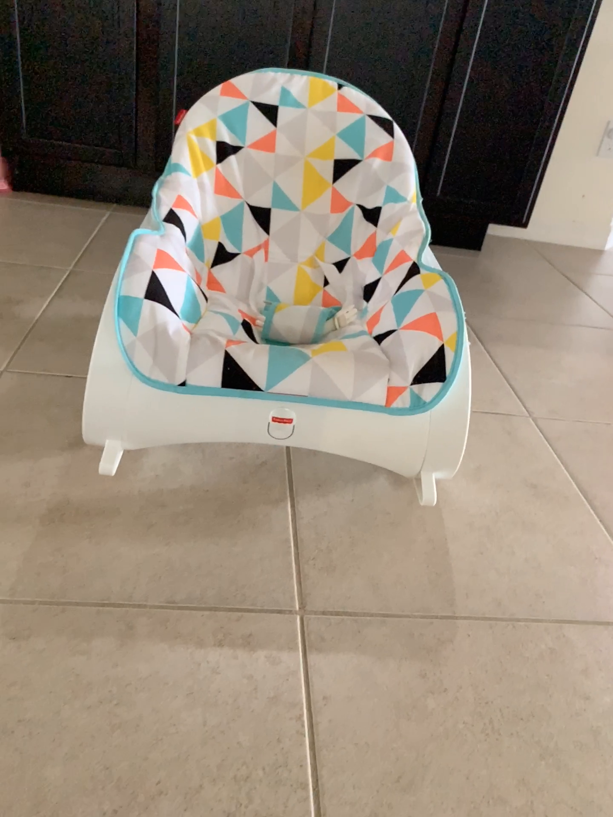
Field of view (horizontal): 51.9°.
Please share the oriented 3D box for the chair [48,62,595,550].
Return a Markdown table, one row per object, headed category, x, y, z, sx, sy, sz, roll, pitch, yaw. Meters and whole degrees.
| category | x | y | z | sx | sy | sz | roll | pitch | yaw |
| --- | --- | --- | --- | --- | --- | --- | --- | --- | --- |
| chair | -0.026 | -0.227 | 1.037 | 0.530 | 0.485 | 0.738 | 5 | 32 | -7 |
